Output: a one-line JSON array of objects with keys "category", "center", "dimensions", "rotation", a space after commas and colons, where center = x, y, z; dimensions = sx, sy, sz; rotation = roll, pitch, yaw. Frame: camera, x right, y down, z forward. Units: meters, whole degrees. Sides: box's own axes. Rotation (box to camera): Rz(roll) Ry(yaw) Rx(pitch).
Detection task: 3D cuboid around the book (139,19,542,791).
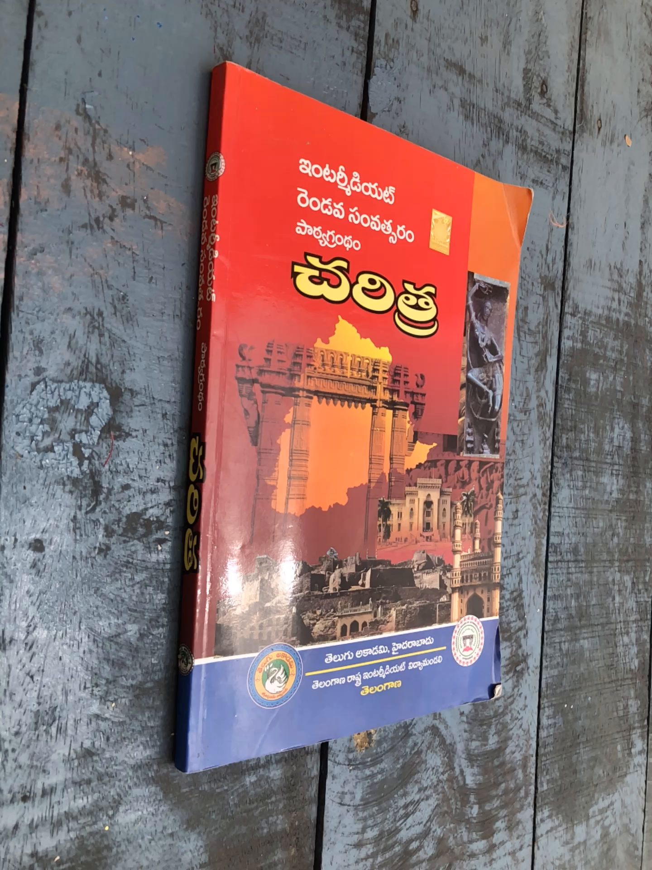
[{"category": "book", "center": [0.021, -0.008, 0.328], "dimensions": [0.191, 0.040, 0.270], "rotation": [5, 86, -40]}]
